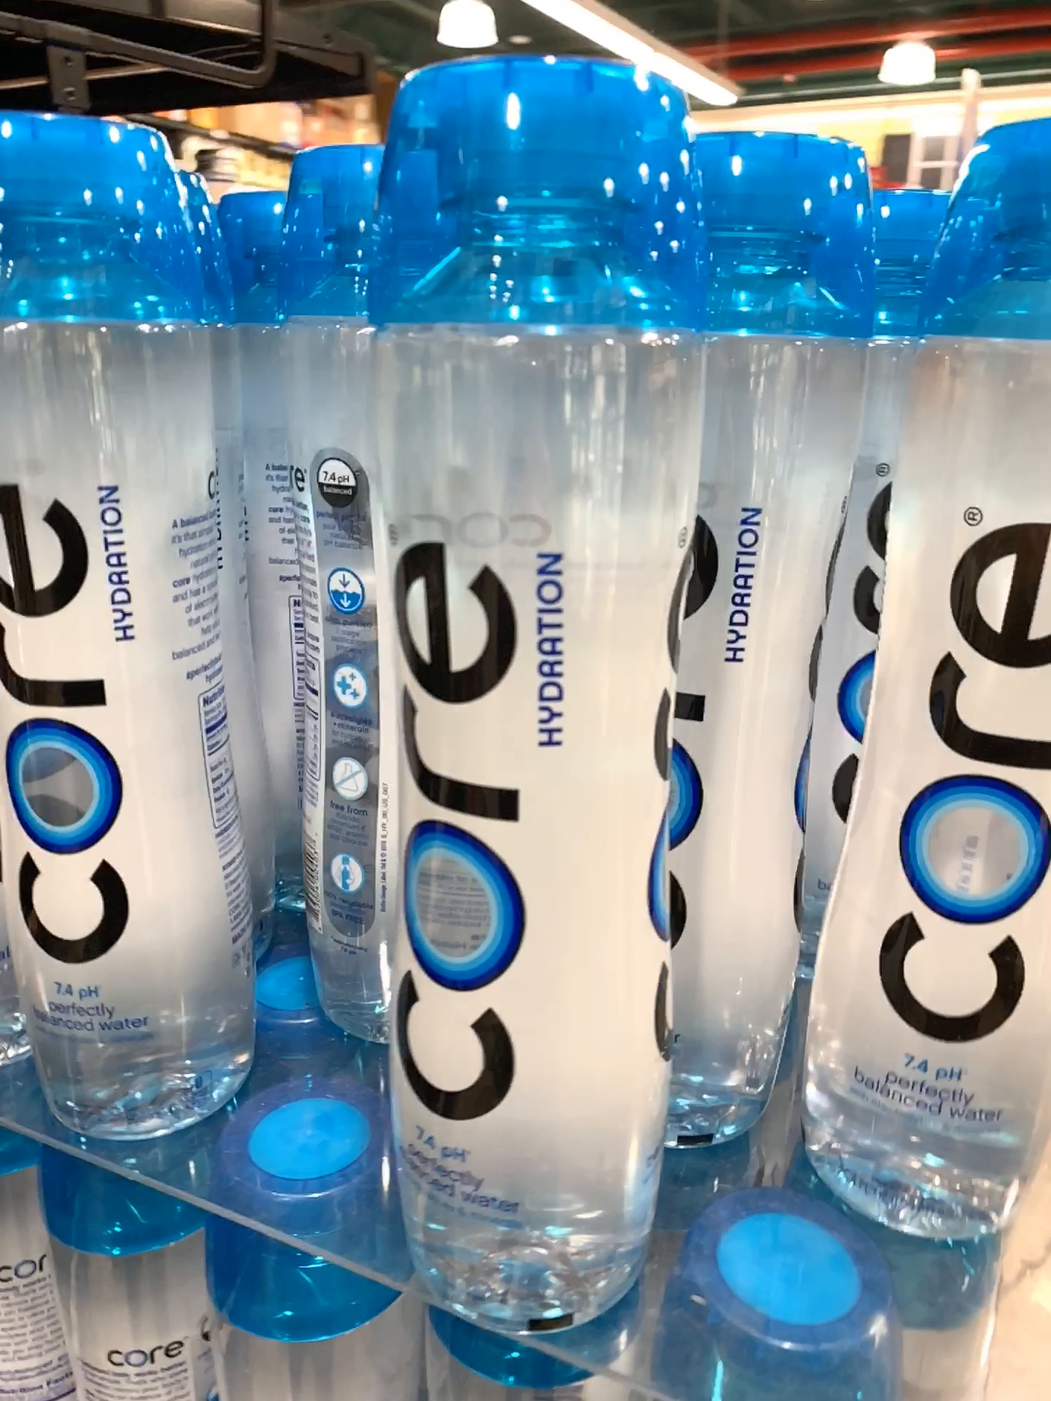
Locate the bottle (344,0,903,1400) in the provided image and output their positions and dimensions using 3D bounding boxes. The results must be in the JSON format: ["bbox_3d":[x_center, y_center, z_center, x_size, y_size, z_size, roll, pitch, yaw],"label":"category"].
[{"bbox_3d":[0.020,0.014,0.261,0.080,0.289,0.090,13,20,31],"label":"bottle"}]
